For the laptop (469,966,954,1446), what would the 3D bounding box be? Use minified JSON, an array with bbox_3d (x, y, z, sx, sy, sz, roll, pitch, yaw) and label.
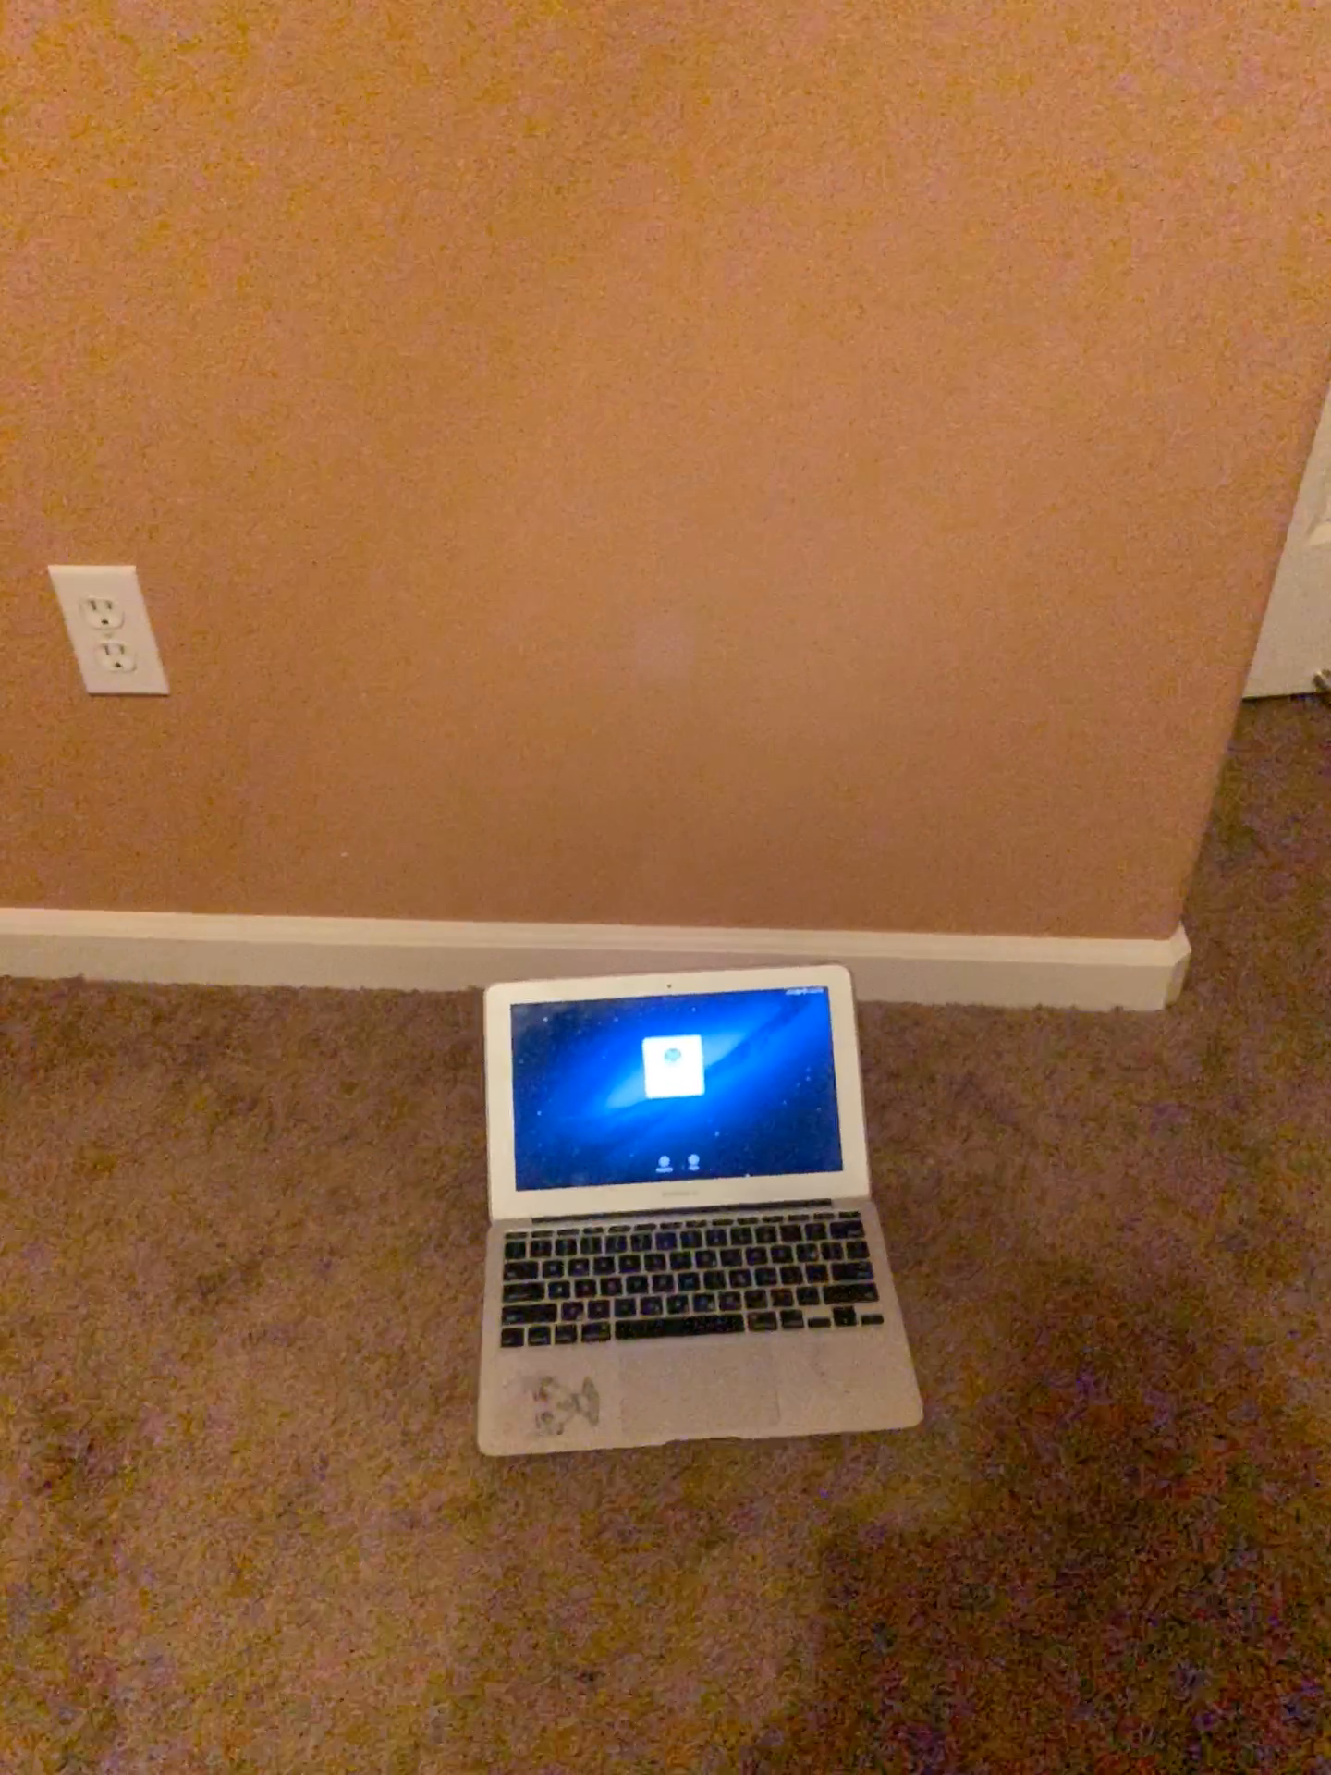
[{"bbox_3d":[0.020,0.215,1.000,0.298,0.116,0.326,-3,37,-3],"label":"laptop"}]
